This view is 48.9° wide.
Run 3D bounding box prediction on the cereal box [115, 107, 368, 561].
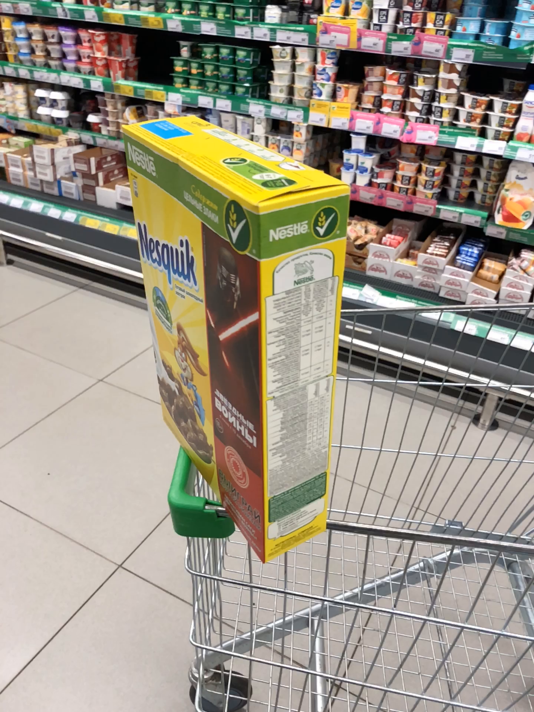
[{"bbox_3d":[-0.028,-0.022,0.438,0.070,0.268,0.201,-18,37,-25],"label":"cereal box"}]
